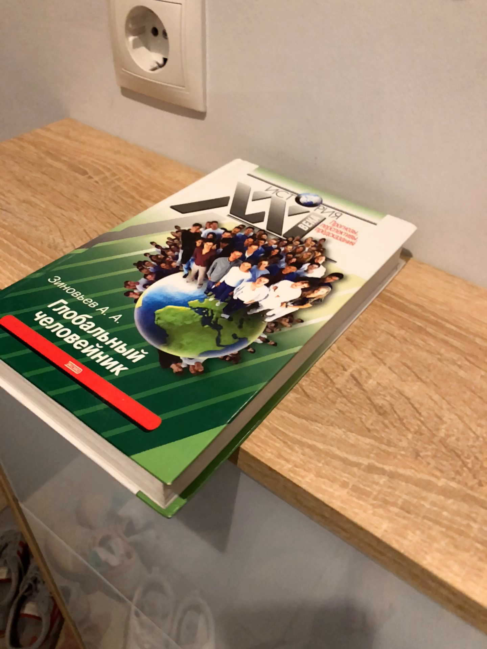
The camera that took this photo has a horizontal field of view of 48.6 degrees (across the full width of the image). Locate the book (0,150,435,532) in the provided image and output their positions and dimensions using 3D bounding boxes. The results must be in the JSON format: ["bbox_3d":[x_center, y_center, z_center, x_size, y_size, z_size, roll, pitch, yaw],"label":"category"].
[{"bbox_3d":[-0.014,-0.024,0.276,0.140,0.020,0.221,28,48,25],"label":"book"}]
